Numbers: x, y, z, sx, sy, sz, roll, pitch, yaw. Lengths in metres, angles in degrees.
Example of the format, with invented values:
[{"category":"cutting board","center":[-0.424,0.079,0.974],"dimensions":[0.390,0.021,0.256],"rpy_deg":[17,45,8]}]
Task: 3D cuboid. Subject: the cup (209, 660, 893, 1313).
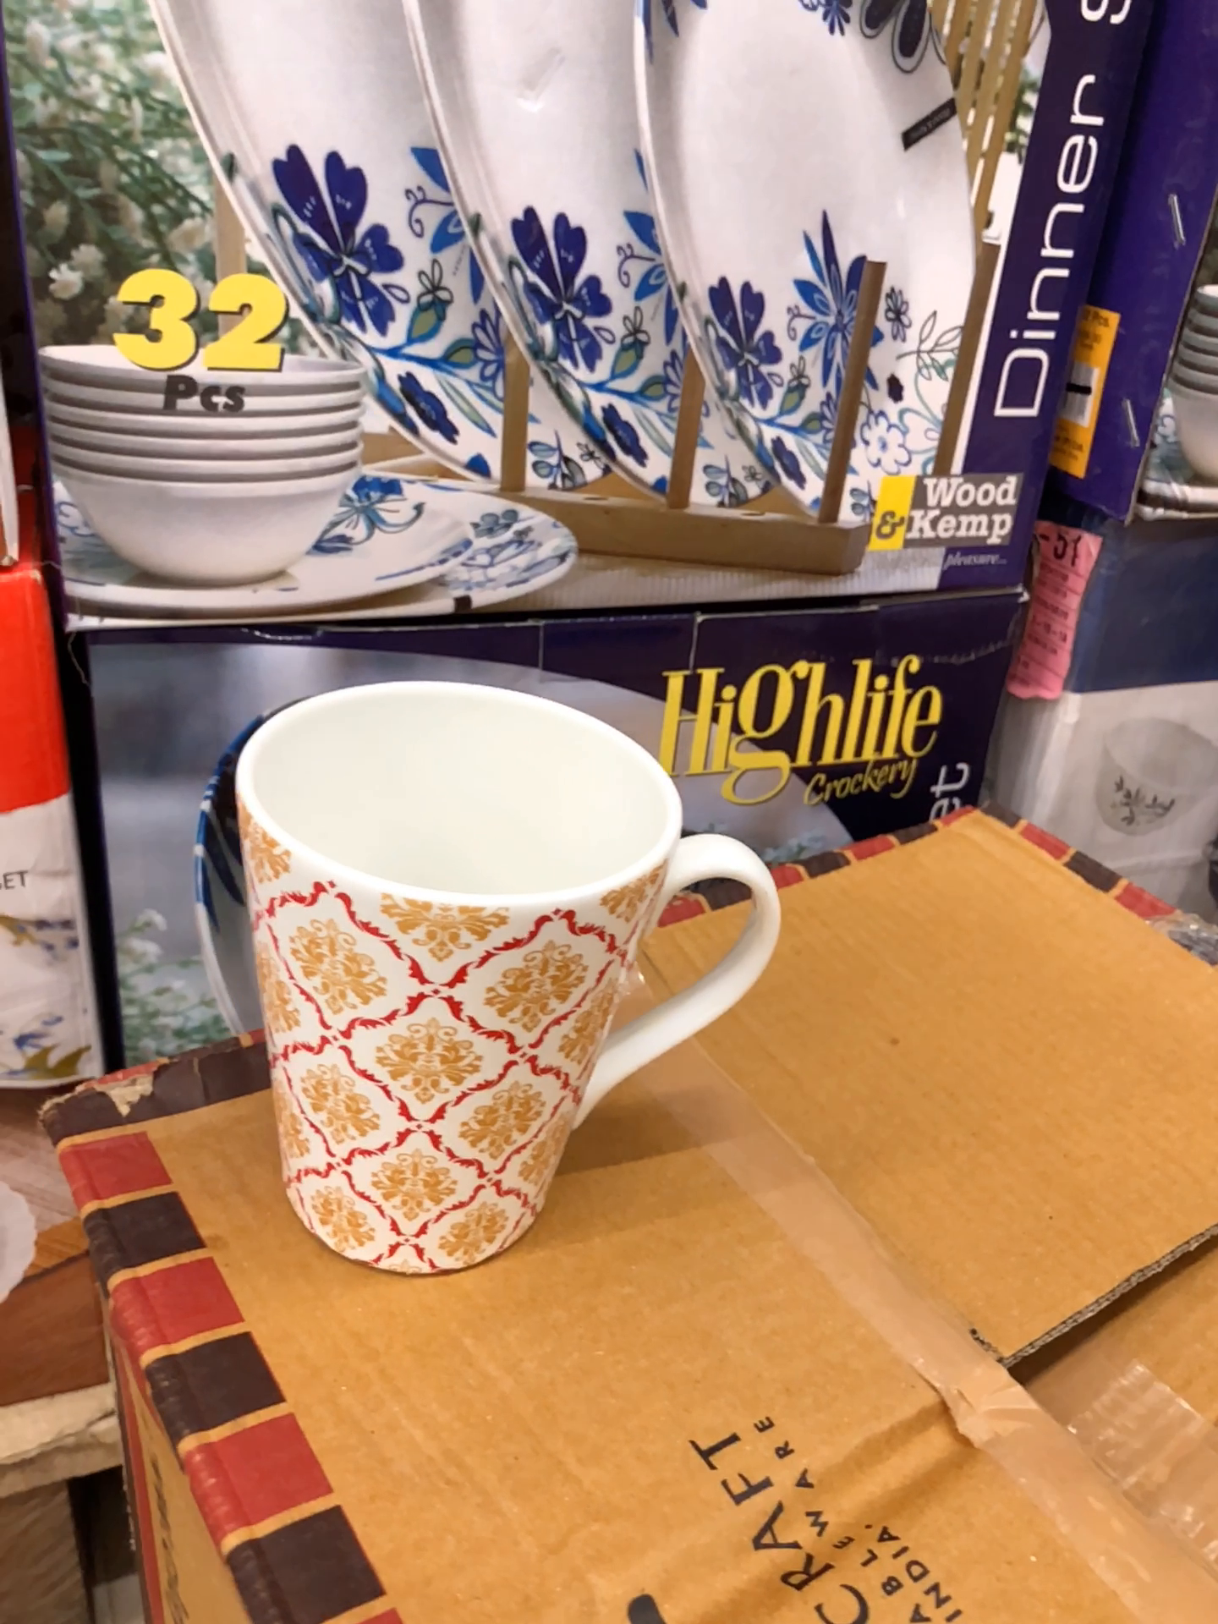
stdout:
[{"category":"cup","center":[-0.019,0.029,0.275],"dimensions":[0.110,0.089,0.090],"rpy_deg":[-1,29,-12]}]
